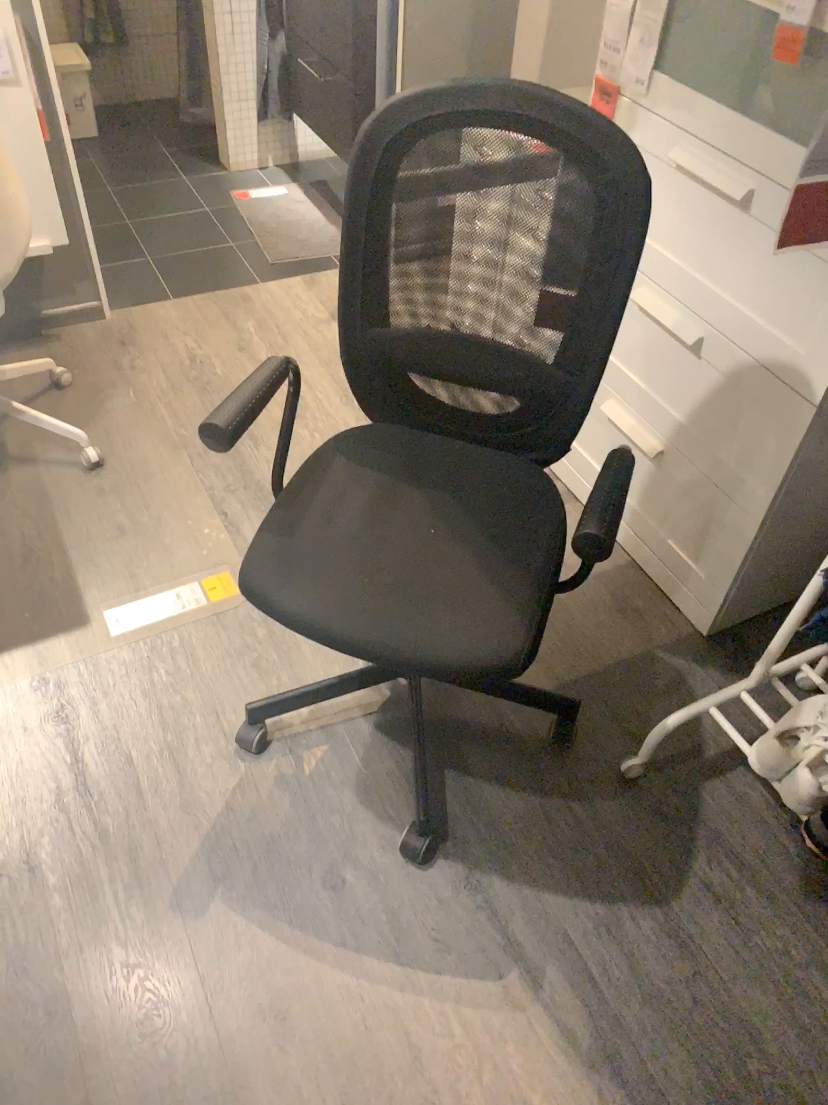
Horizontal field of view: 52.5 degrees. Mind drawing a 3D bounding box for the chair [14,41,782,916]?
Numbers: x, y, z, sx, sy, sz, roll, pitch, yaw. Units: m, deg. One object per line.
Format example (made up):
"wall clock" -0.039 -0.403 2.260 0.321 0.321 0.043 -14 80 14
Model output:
"chair" 0.031 -0.083 1.268 0.640 0.976 0.682 17 47 12
